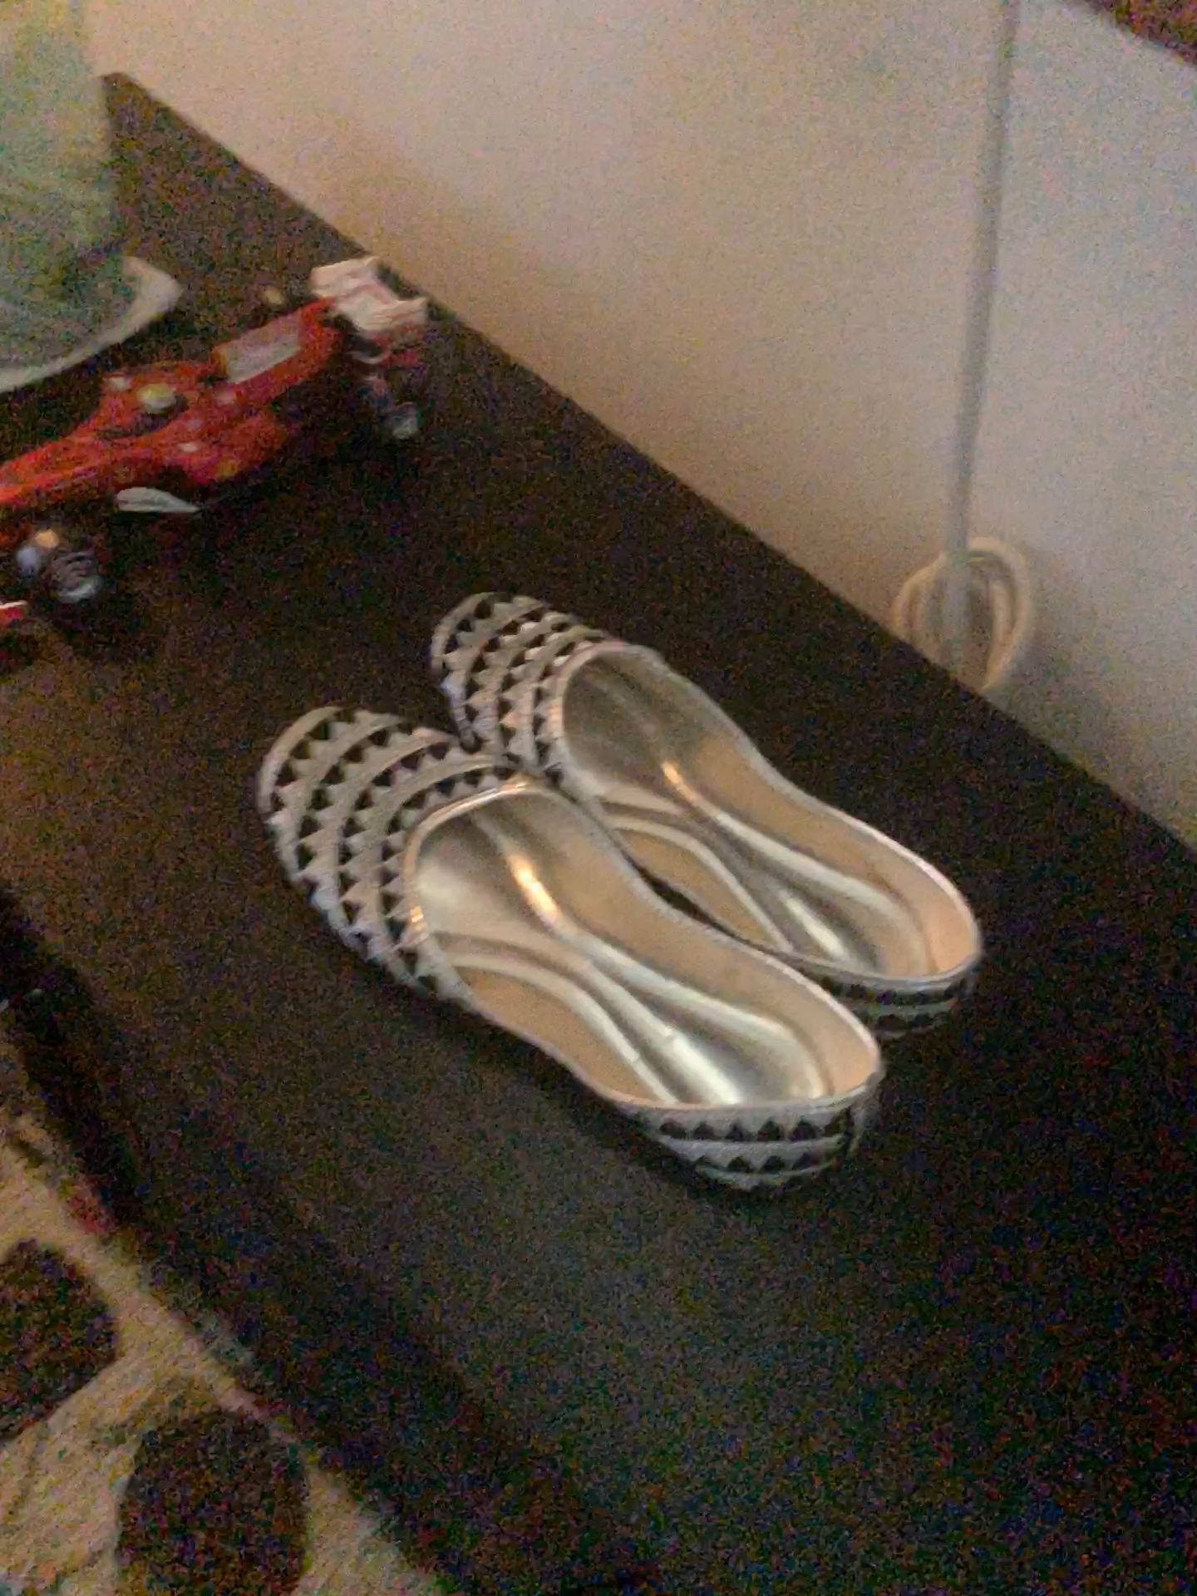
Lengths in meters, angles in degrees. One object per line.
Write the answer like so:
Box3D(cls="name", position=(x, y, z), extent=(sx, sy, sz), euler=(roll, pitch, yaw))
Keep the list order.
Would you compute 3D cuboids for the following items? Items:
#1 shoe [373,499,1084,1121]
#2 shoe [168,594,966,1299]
Box3D(cls="shoe", position=(0.043, -0.003, 0.495), extent=(0.270, 0.069, 0.096), euler=(36, 55, 13))
Box3D(cls="shoe", position=(-0.018, 0.045, 0.442), extent=(0.270, 0.069, 0.096), euler=(35, 55, 12))
